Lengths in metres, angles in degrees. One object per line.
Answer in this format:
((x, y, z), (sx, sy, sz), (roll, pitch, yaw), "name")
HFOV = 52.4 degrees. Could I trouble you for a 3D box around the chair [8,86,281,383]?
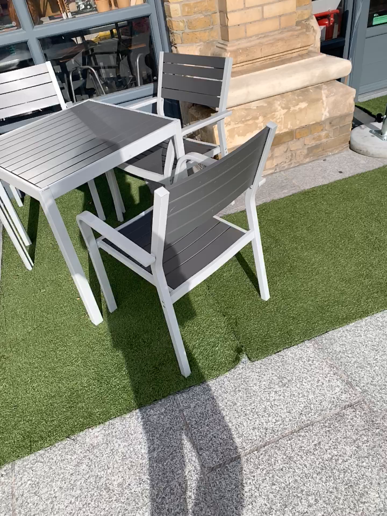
((-0.114, -0.141, 1.582), (0.649, 0.801, 0.684), (23, 49, 35), "chair")
